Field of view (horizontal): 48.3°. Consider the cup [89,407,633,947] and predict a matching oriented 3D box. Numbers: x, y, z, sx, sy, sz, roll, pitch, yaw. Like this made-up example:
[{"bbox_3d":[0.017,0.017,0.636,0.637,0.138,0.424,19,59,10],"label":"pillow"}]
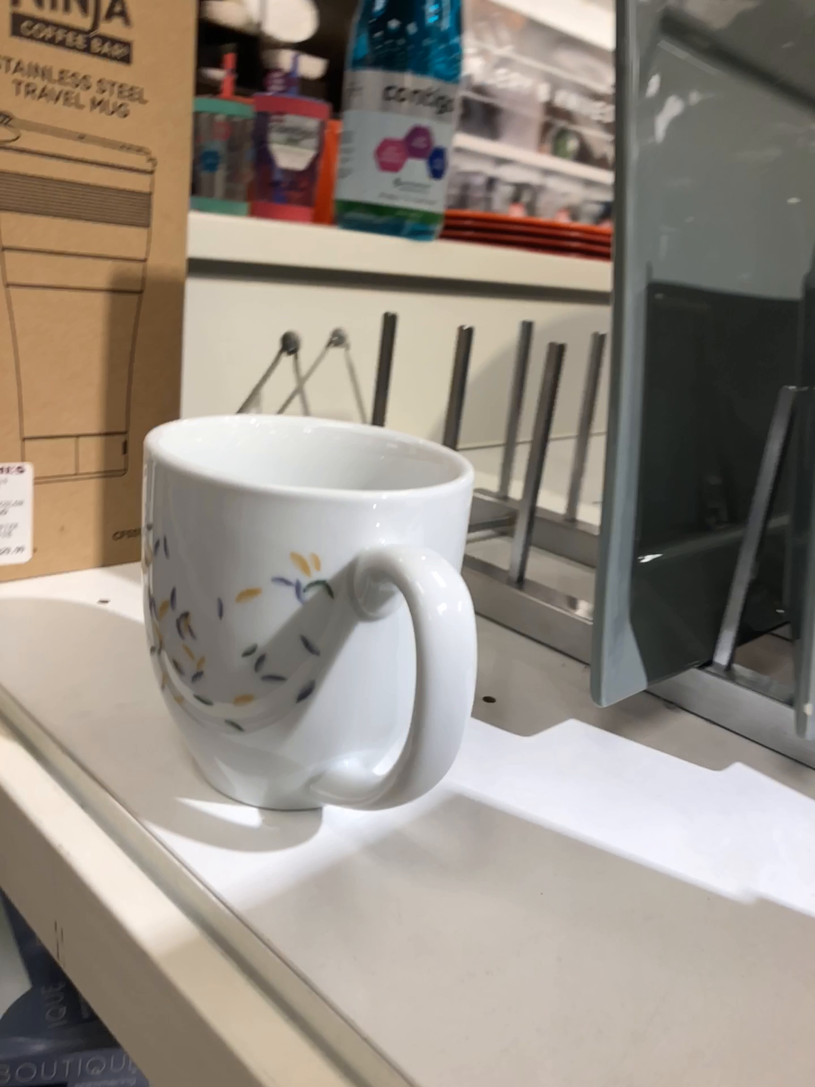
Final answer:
[{"bbox_3d":[-0.024,0.020,0.257,0.093,0.091,0.128,-6,22,-34],"label":"cup"}]
